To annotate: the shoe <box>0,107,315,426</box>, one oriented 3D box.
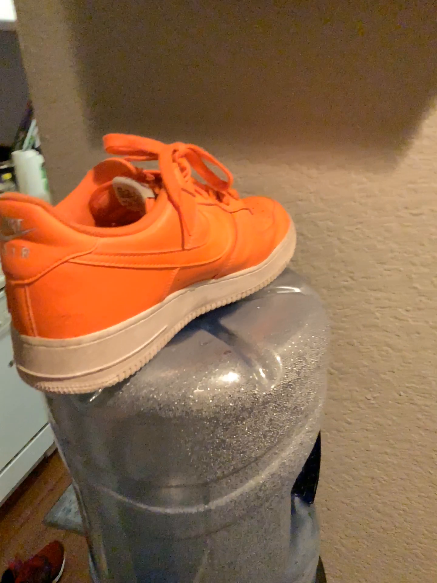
[{"bbox_3d":[-0.036,-0.058,0.383,0.120,0.140,0.300,12,29,28],"label":"shoe"}]
